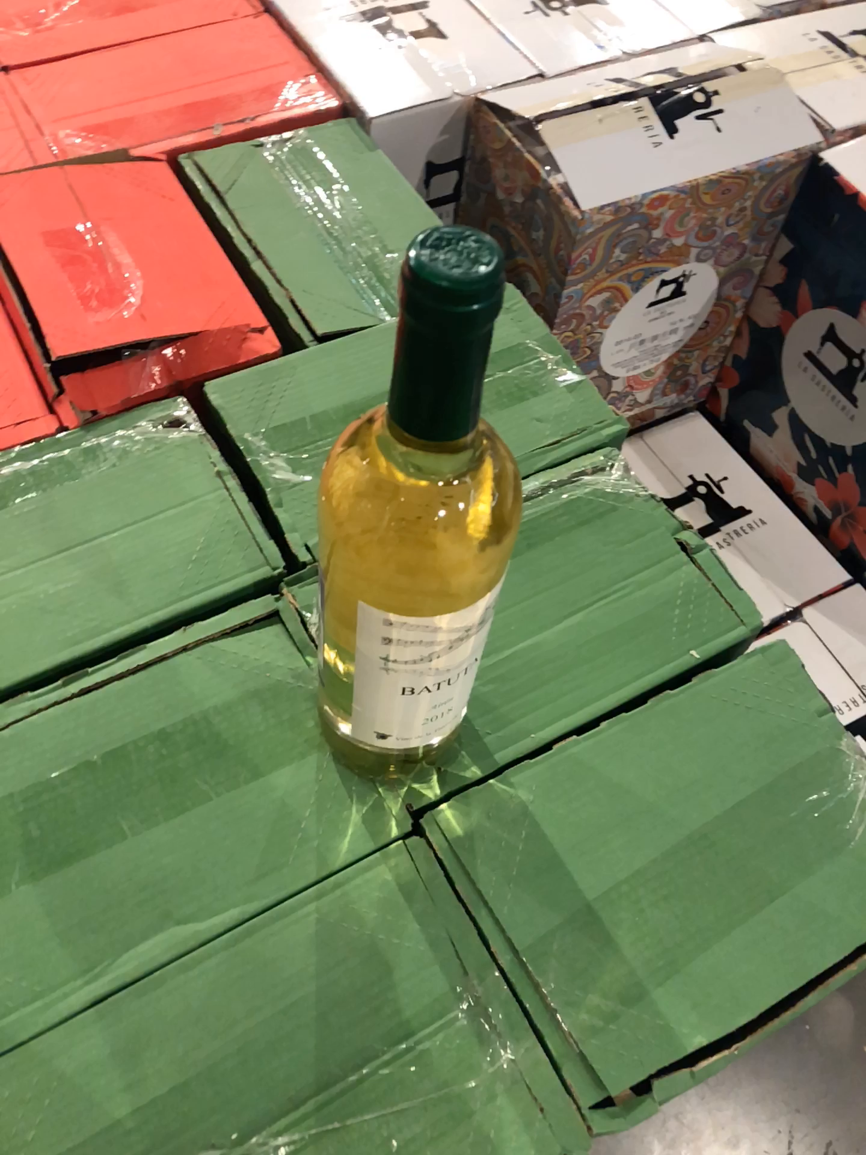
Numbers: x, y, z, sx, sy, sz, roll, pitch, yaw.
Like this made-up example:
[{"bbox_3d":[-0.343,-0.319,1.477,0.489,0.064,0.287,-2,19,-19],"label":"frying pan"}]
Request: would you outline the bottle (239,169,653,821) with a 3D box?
[{"bbox_3d":[-0.008,-0.005,0.366,0.080,0.262,0.084,3,57,-4],"label":"bottle"}]
